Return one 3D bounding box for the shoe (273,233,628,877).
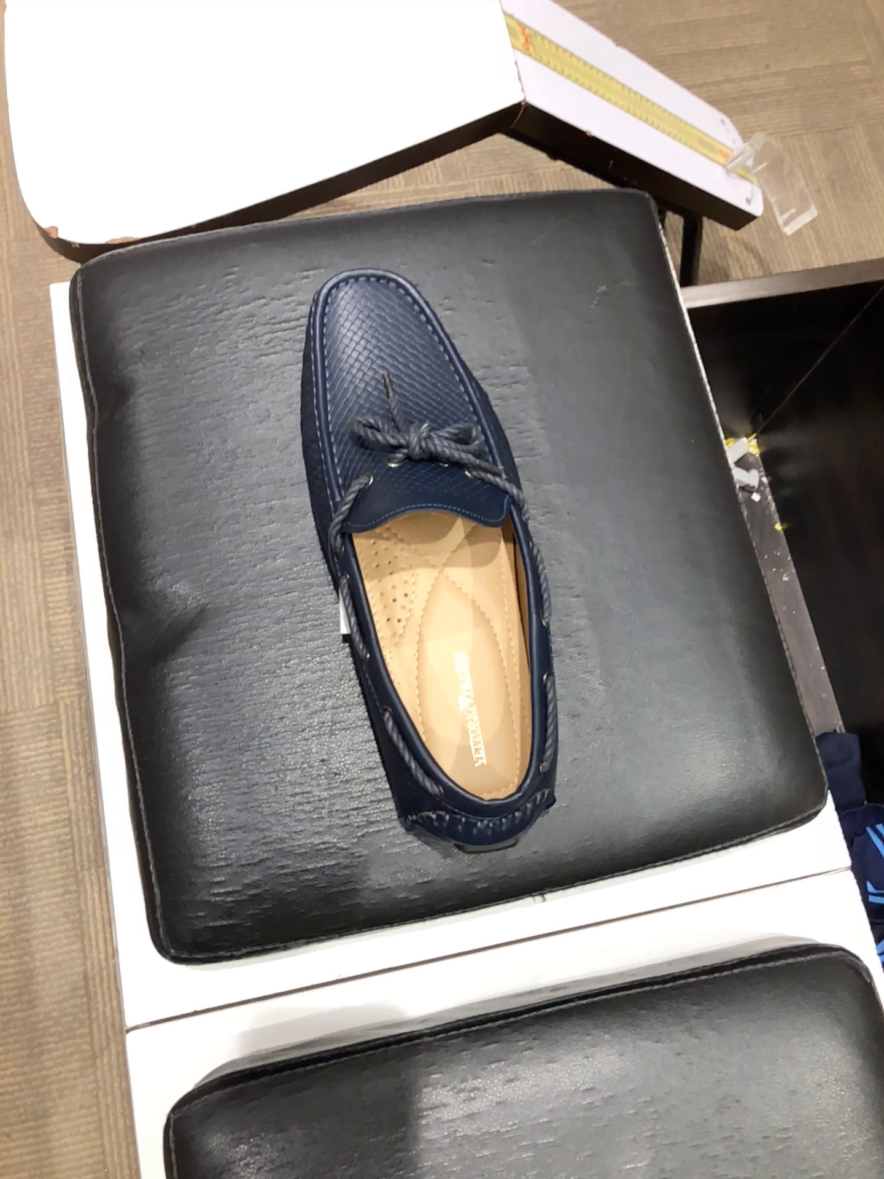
[{"bbox_3d":[-0.004,-0.017,0.449,0.100,0.080,0.270,-10,75,-6],"label":"shoe"}]
